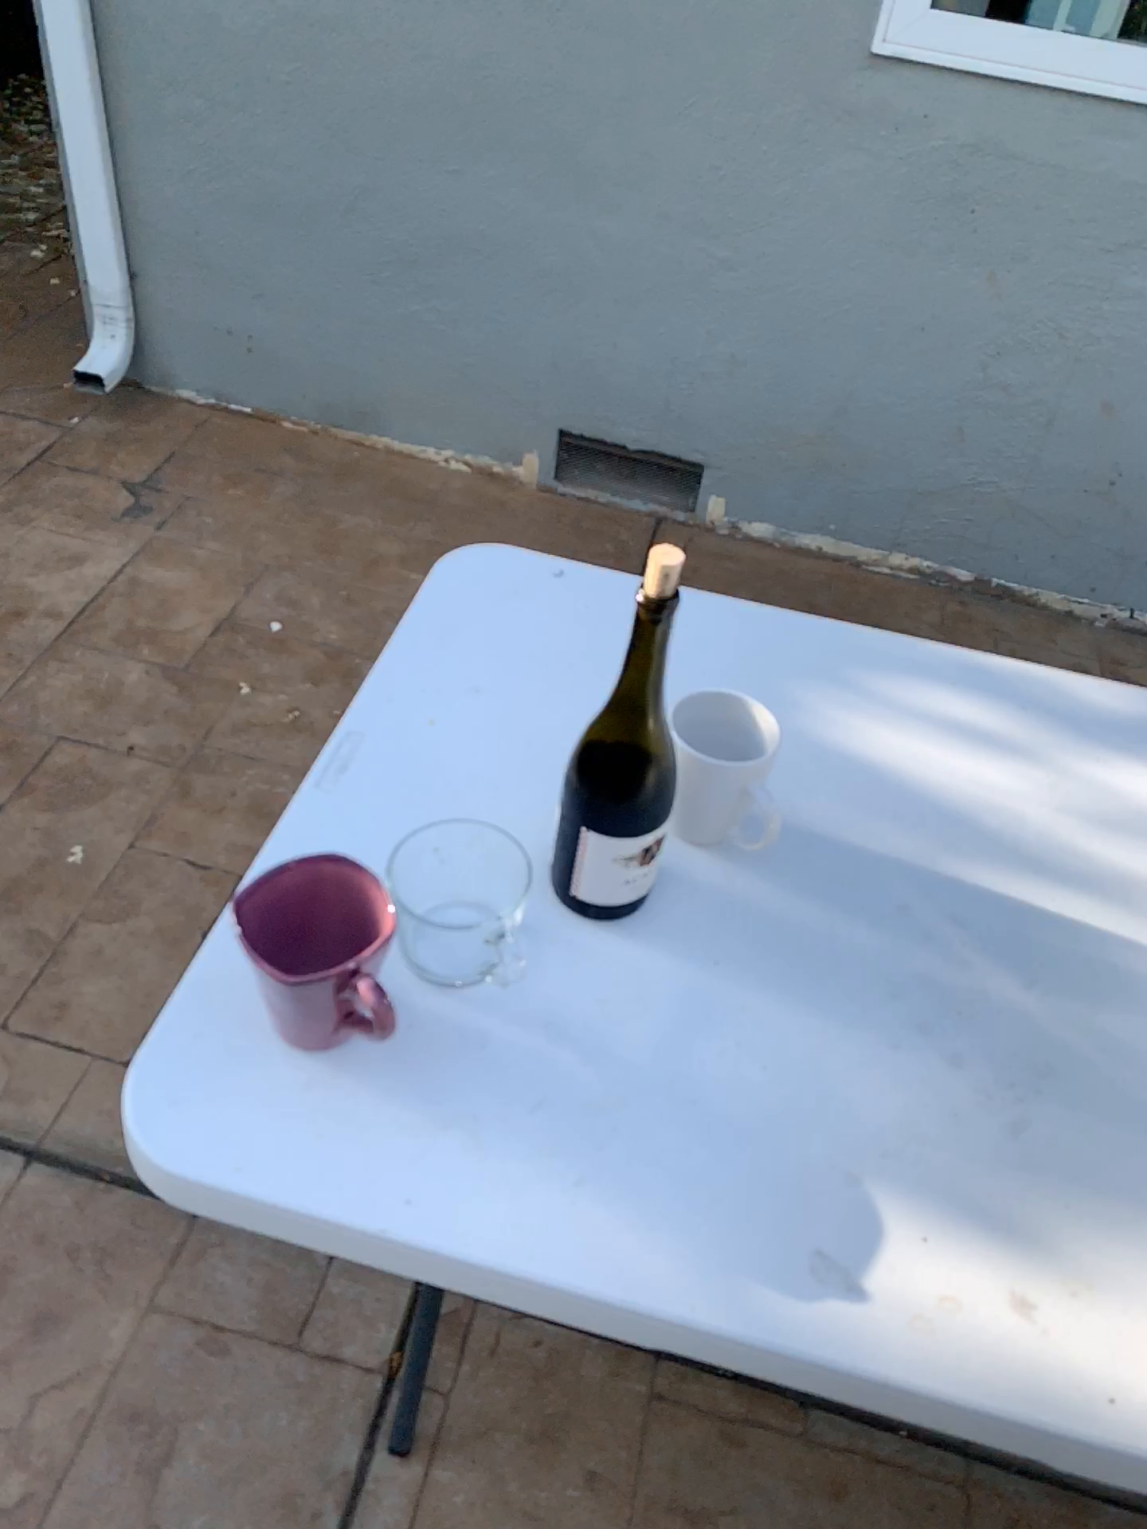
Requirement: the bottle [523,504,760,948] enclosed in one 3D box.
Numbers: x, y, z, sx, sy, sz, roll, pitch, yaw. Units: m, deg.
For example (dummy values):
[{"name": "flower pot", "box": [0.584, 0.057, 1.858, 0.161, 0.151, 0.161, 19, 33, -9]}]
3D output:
[{"name": "bottle", "box": [0.038, -0.016, 0.813, 0.090, 0.308, 0.080, 32, 47, 23]}]
